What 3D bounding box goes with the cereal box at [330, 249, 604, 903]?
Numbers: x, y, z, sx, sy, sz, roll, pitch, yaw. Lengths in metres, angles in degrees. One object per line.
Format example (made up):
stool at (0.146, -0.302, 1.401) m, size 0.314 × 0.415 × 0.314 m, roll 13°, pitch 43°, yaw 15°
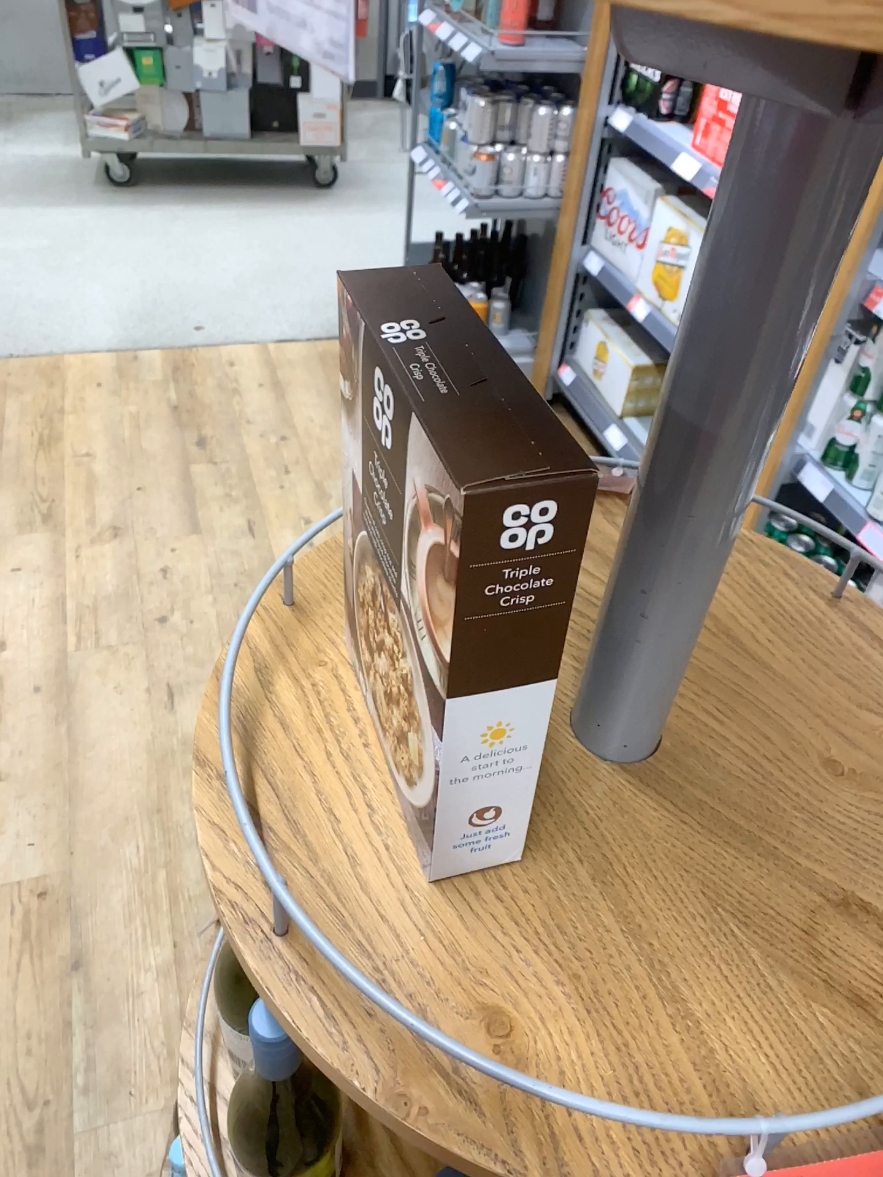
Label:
cereal box at (-0.007, -0.003, 0.439) m, size 0.050 × 0.248 × 0.192 m, roll -9°, pitch 44°, yaw -15°
